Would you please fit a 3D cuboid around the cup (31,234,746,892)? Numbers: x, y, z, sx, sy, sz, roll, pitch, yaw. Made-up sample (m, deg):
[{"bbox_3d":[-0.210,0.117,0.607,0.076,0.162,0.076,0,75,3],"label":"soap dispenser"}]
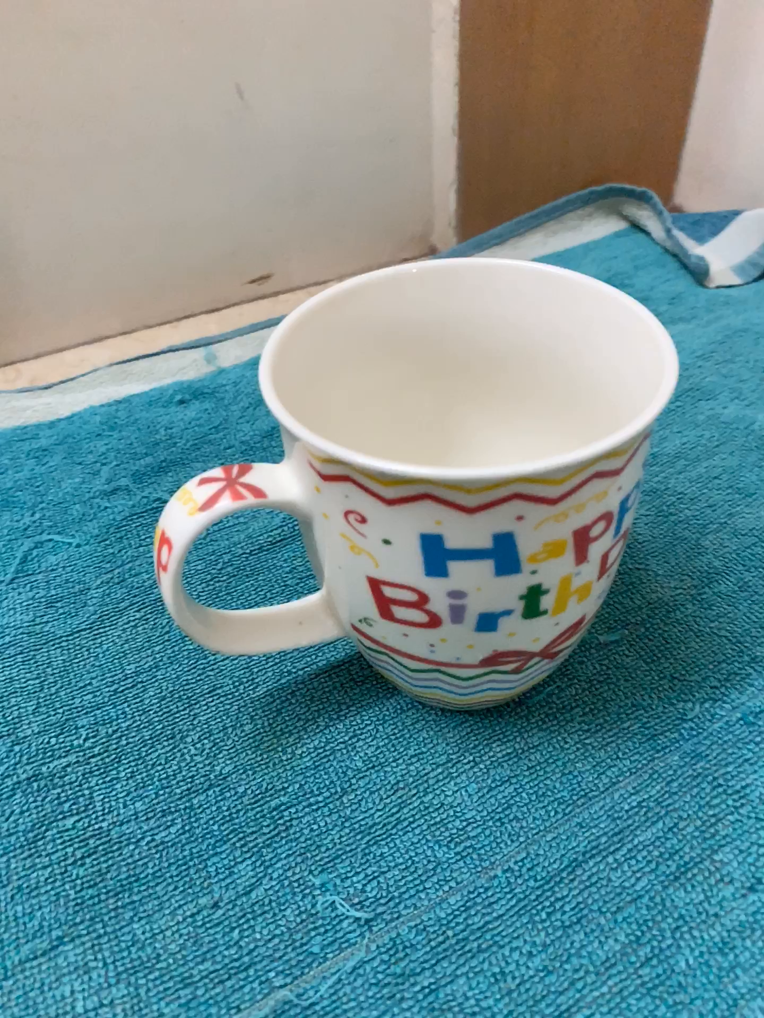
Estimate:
[{"bbox_3d":[-0.002,0.007,0.206,0.130,0.099,0.091,-18,43,-16],"label":"cup"}]
